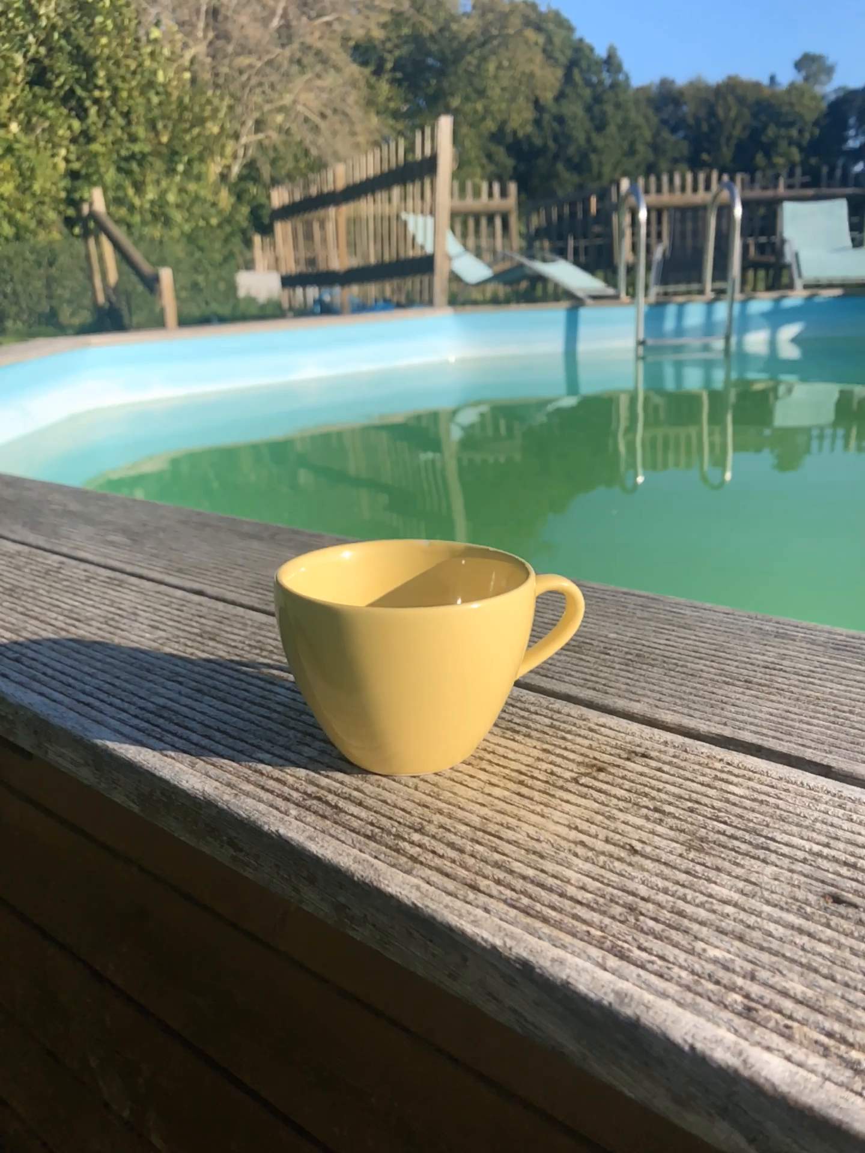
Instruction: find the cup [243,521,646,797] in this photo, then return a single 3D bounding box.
[{"bbox_3d":[0.000,0.021,0.329,0.112,0.053,0.089,-7,17,-19],"label":"cup"}]
